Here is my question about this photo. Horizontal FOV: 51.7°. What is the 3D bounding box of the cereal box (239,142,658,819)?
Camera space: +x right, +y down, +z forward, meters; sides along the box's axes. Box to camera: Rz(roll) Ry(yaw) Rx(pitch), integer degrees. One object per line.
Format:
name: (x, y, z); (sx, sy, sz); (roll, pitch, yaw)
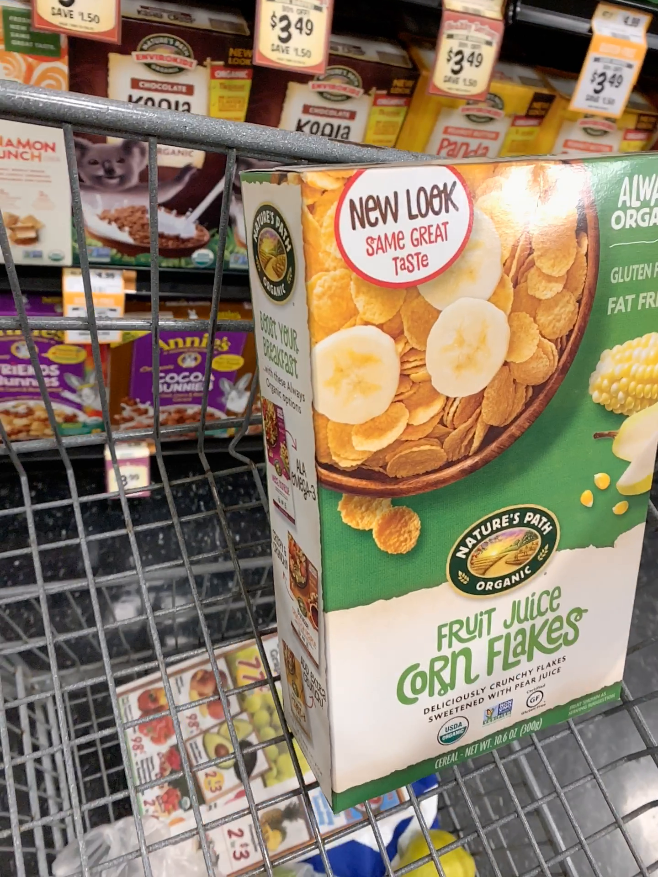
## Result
cereal box: (0.059, 0.016, 0.285); (0.160, 0.249, 0.060); (-11, 24, -20)
